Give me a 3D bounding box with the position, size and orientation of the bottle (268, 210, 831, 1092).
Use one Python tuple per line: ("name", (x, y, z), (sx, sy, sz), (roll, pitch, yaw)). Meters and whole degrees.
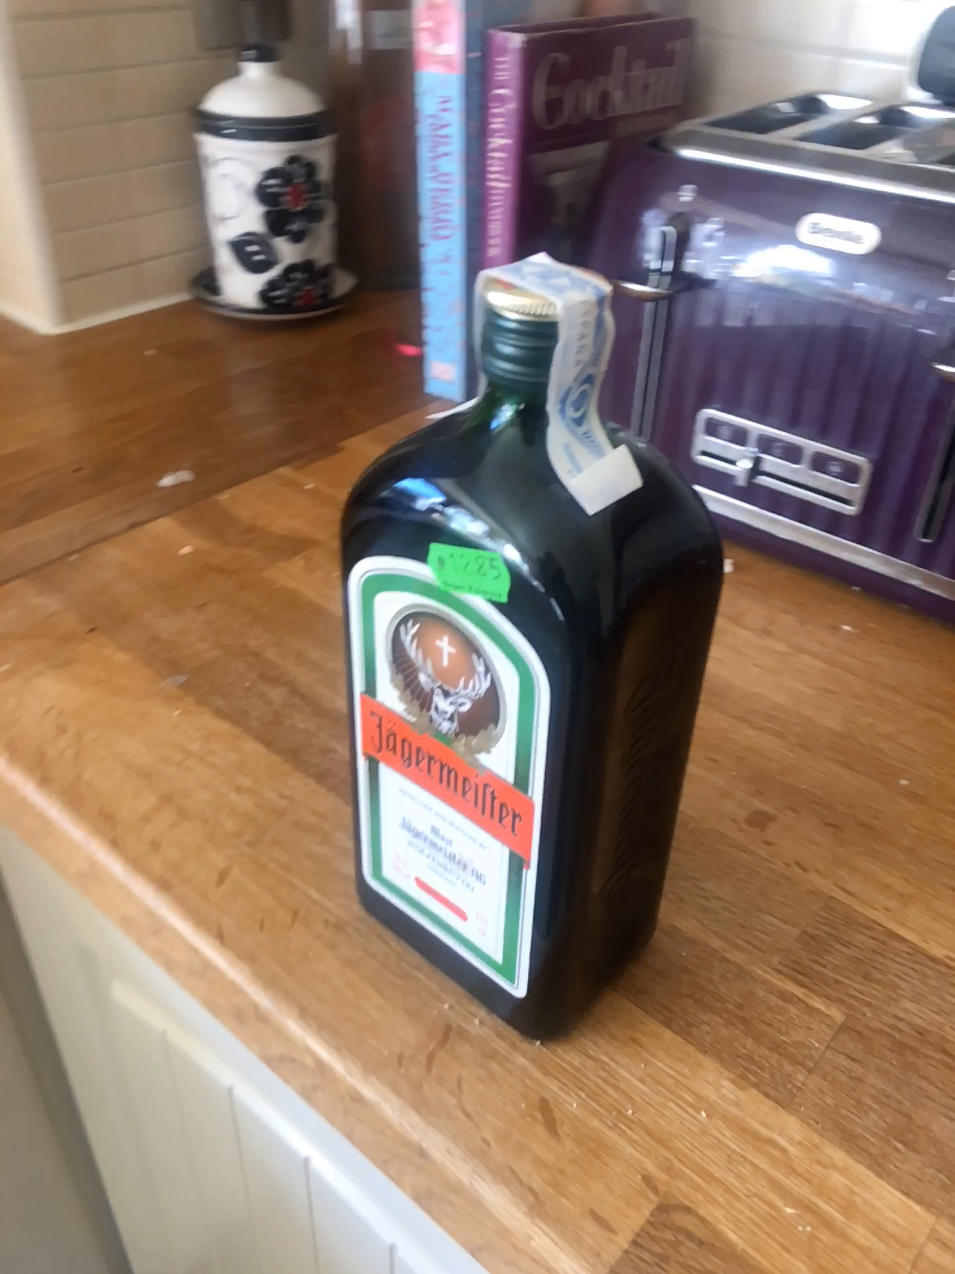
("bottle", (0.013, 0.008, 0.303), (0.100, 0.218, 0.081), (29, 43, 33))
